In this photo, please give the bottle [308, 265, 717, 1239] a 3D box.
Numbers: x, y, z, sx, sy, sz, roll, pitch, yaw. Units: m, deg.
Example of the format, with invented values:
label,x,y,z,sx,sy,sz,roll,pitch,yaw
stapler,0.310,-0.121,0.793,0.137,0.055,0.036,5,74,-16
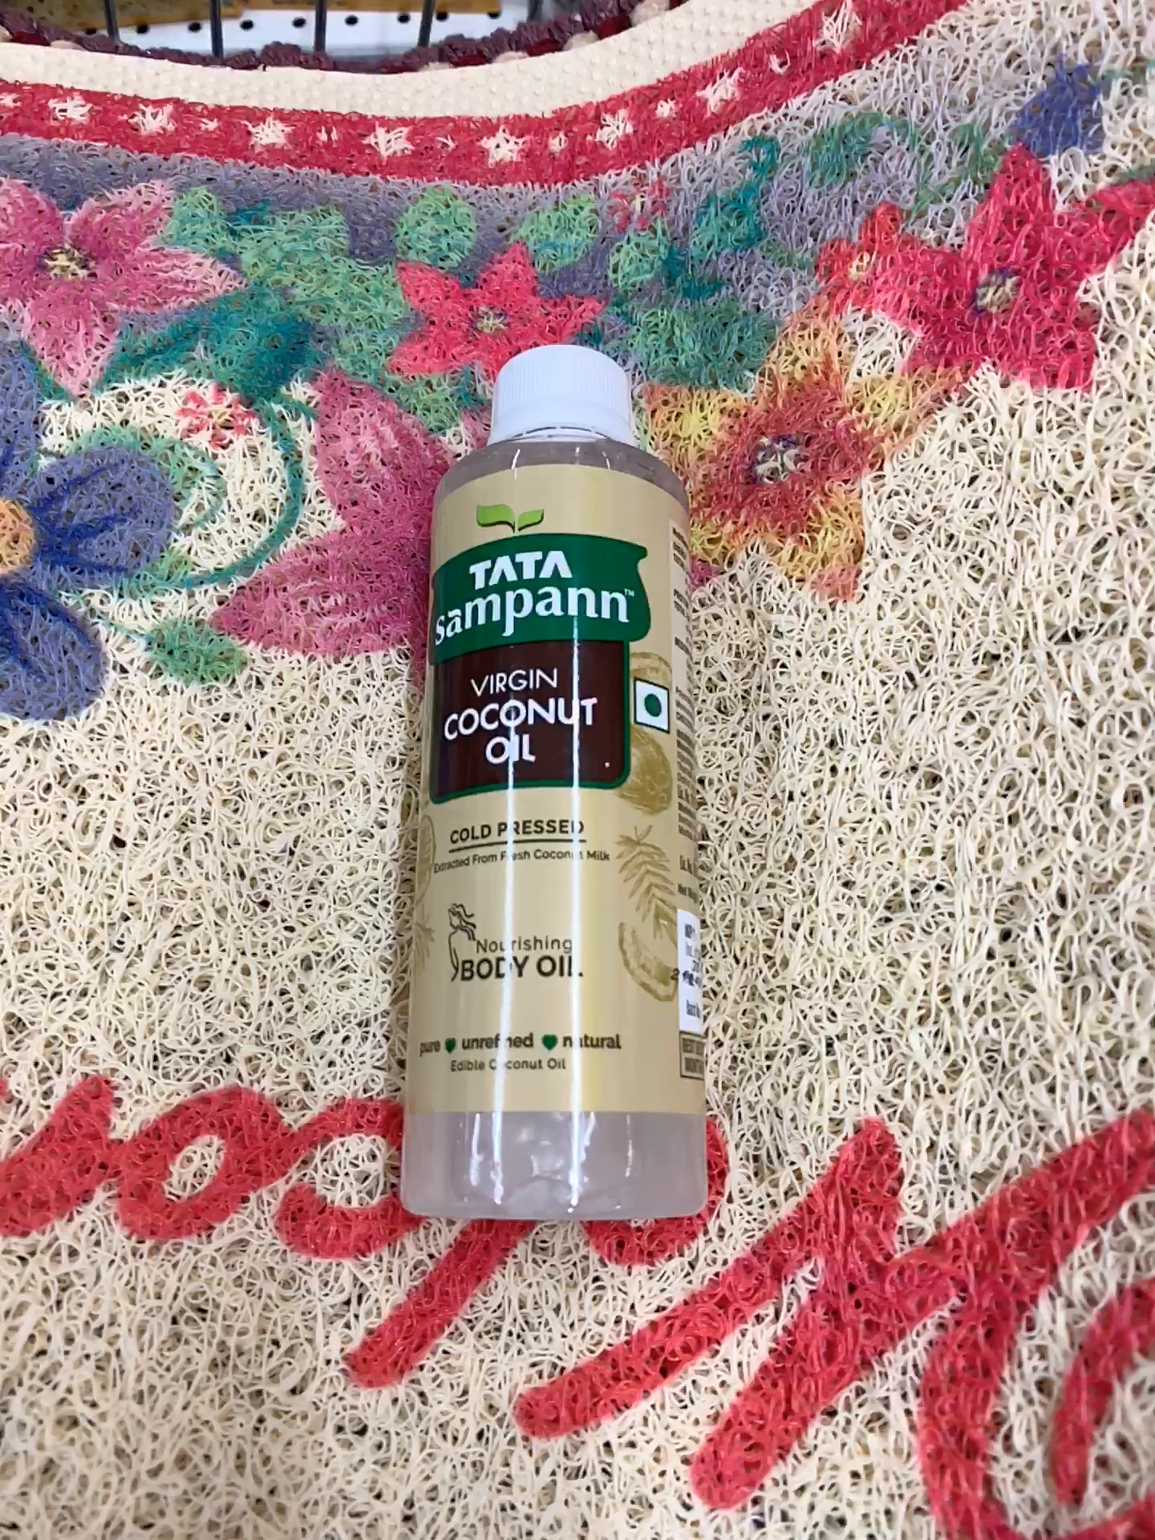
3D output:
label,x,y,z,sx,sy,sz,roll,pitch,yaw
bottle,-0.006,-0.006,0.182,0.050,0.030,0.140,-2,73,9
